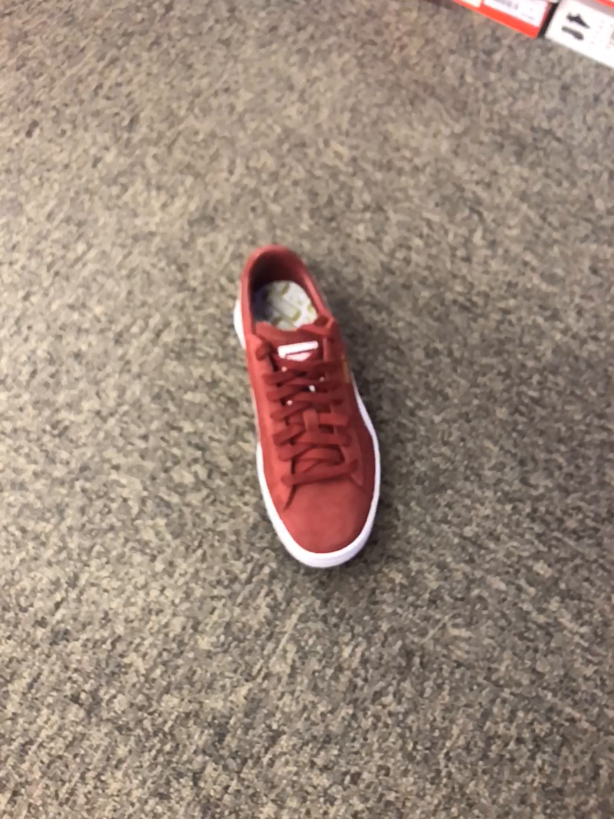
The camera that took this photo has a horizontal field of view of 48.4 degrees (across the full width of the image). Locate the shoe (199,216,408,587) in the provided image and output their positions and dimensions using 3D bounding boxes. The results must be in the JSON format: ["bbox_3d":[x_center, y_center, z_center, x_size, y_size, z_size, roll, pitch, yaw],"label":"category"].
[{"bbox_3d":[-0.010,-0.008,0.505,0.100,0.080,0.250,-9,71,-6],"label":"shoe"}]
